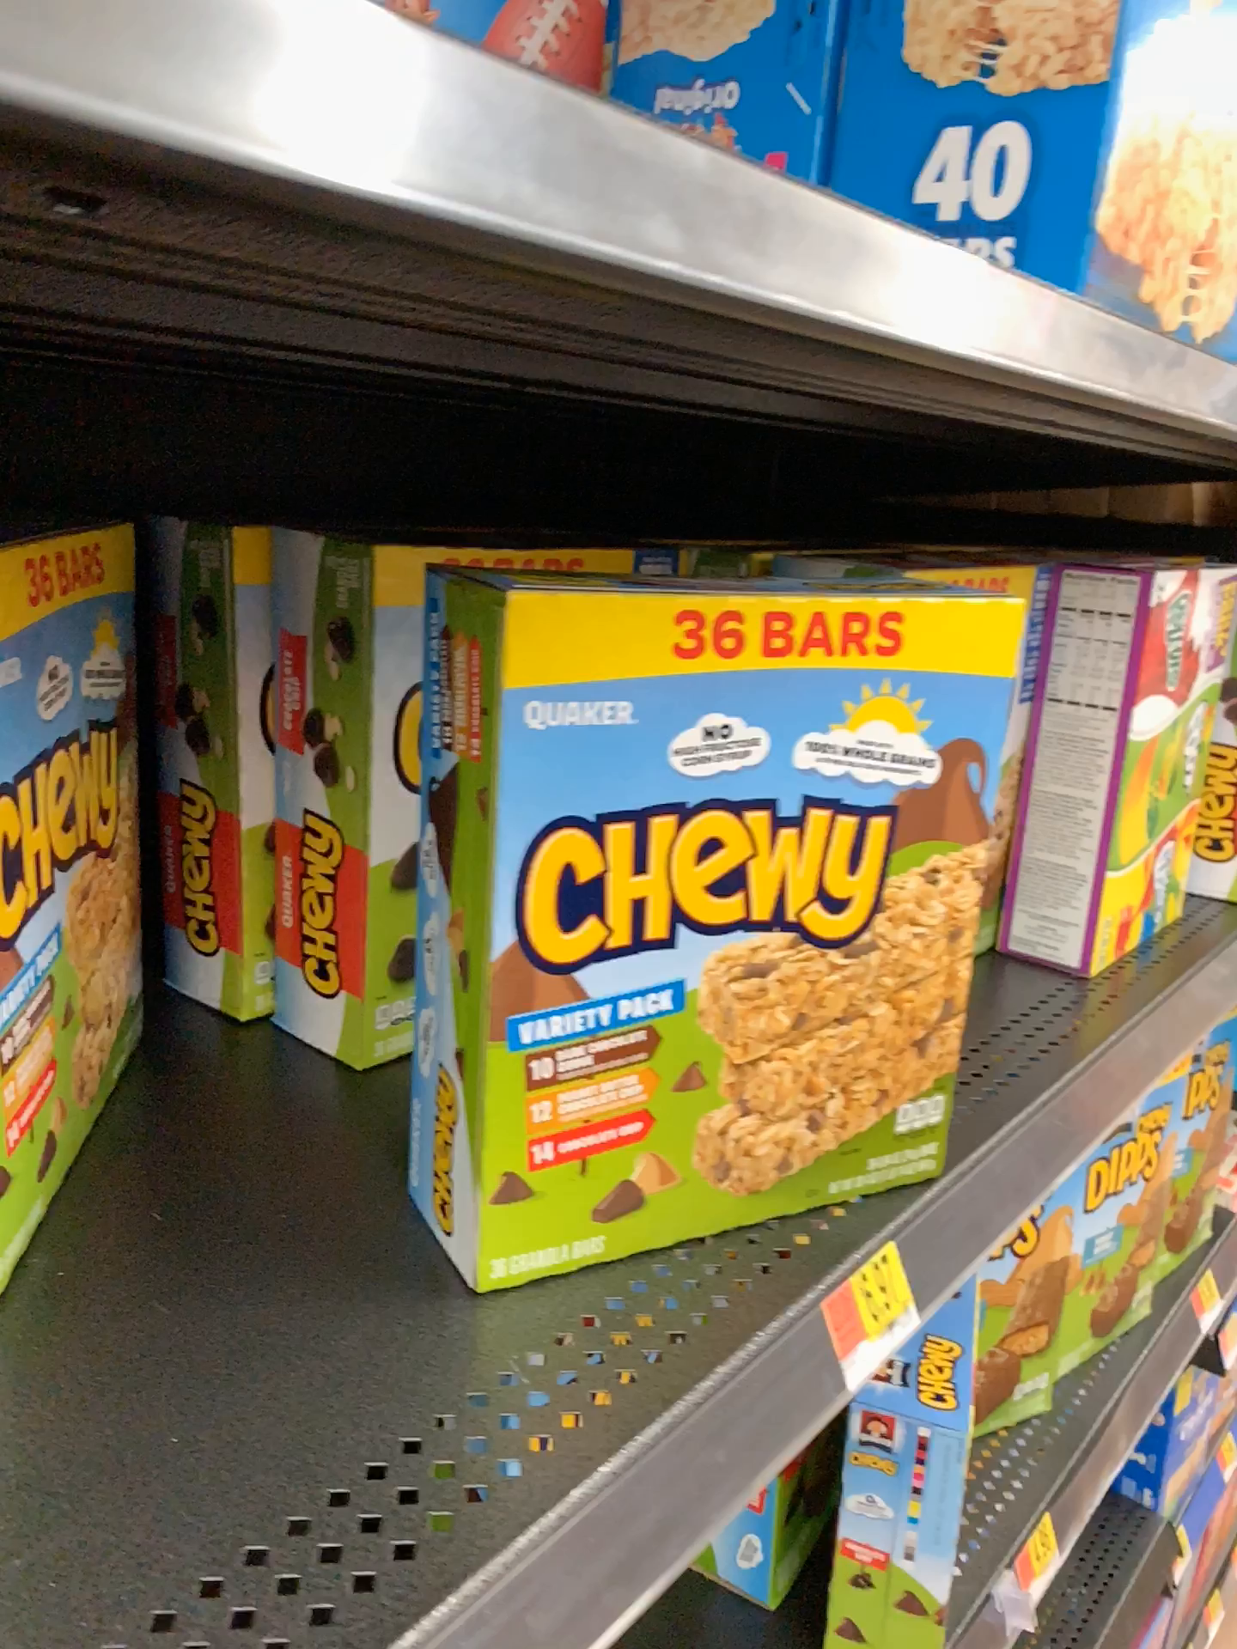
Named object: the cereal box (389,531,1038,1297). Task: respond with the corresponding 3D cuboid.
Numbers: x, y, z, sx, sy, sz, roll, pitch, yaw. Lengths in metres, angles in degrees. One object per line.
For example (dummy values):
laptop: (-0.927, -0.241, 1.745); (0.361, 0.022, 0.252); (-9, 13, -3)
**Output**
cereal box: (0.030, 0.022, 0.447); (0.200, 0.229, 0.070); (-3, 16, -27)
